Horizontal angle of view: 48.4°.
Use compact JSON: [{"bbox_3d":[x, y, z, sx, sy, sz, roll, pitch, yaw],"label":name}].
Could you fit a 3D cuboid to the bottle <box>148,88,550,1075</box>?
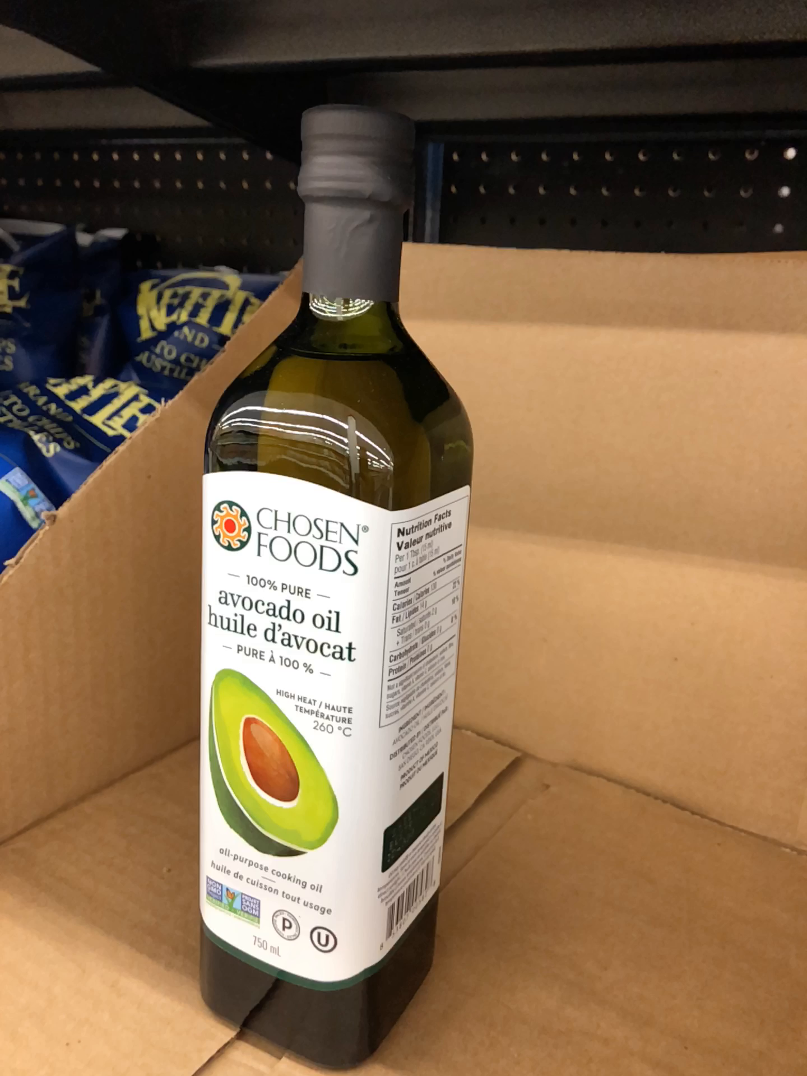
[{"bbox_3d":[-0.019,0.028,0.298,0.090,0.308,0.070,11,19,25],"label":"bottle"}]
